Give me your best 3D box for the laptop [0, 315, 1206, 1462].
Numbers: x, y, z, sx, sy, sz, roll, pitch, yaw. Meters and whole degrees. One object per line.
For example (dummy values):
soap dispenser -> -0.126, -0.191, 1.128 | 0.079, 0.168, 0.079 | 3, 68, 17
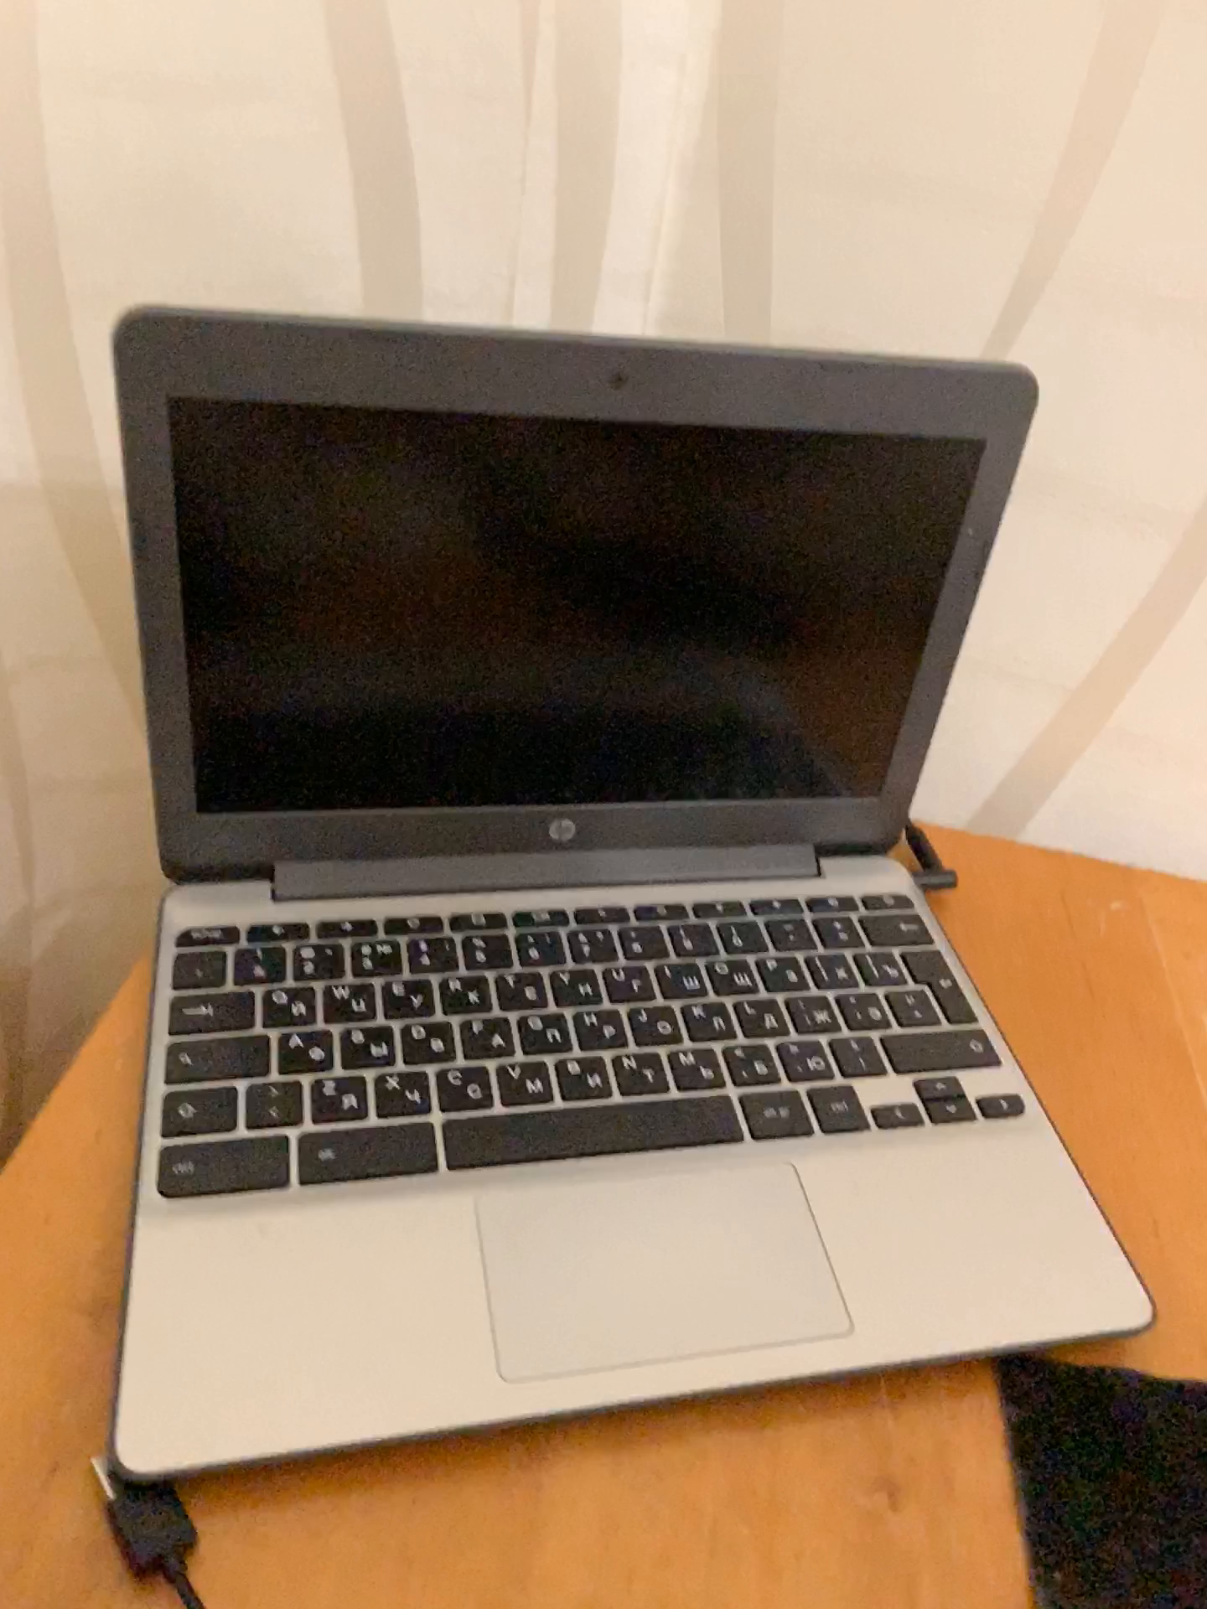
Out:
laptop -> 0.016, 0.007, 0.337 | 0.271, 0.187, 0.207 | -1, 38, -14
